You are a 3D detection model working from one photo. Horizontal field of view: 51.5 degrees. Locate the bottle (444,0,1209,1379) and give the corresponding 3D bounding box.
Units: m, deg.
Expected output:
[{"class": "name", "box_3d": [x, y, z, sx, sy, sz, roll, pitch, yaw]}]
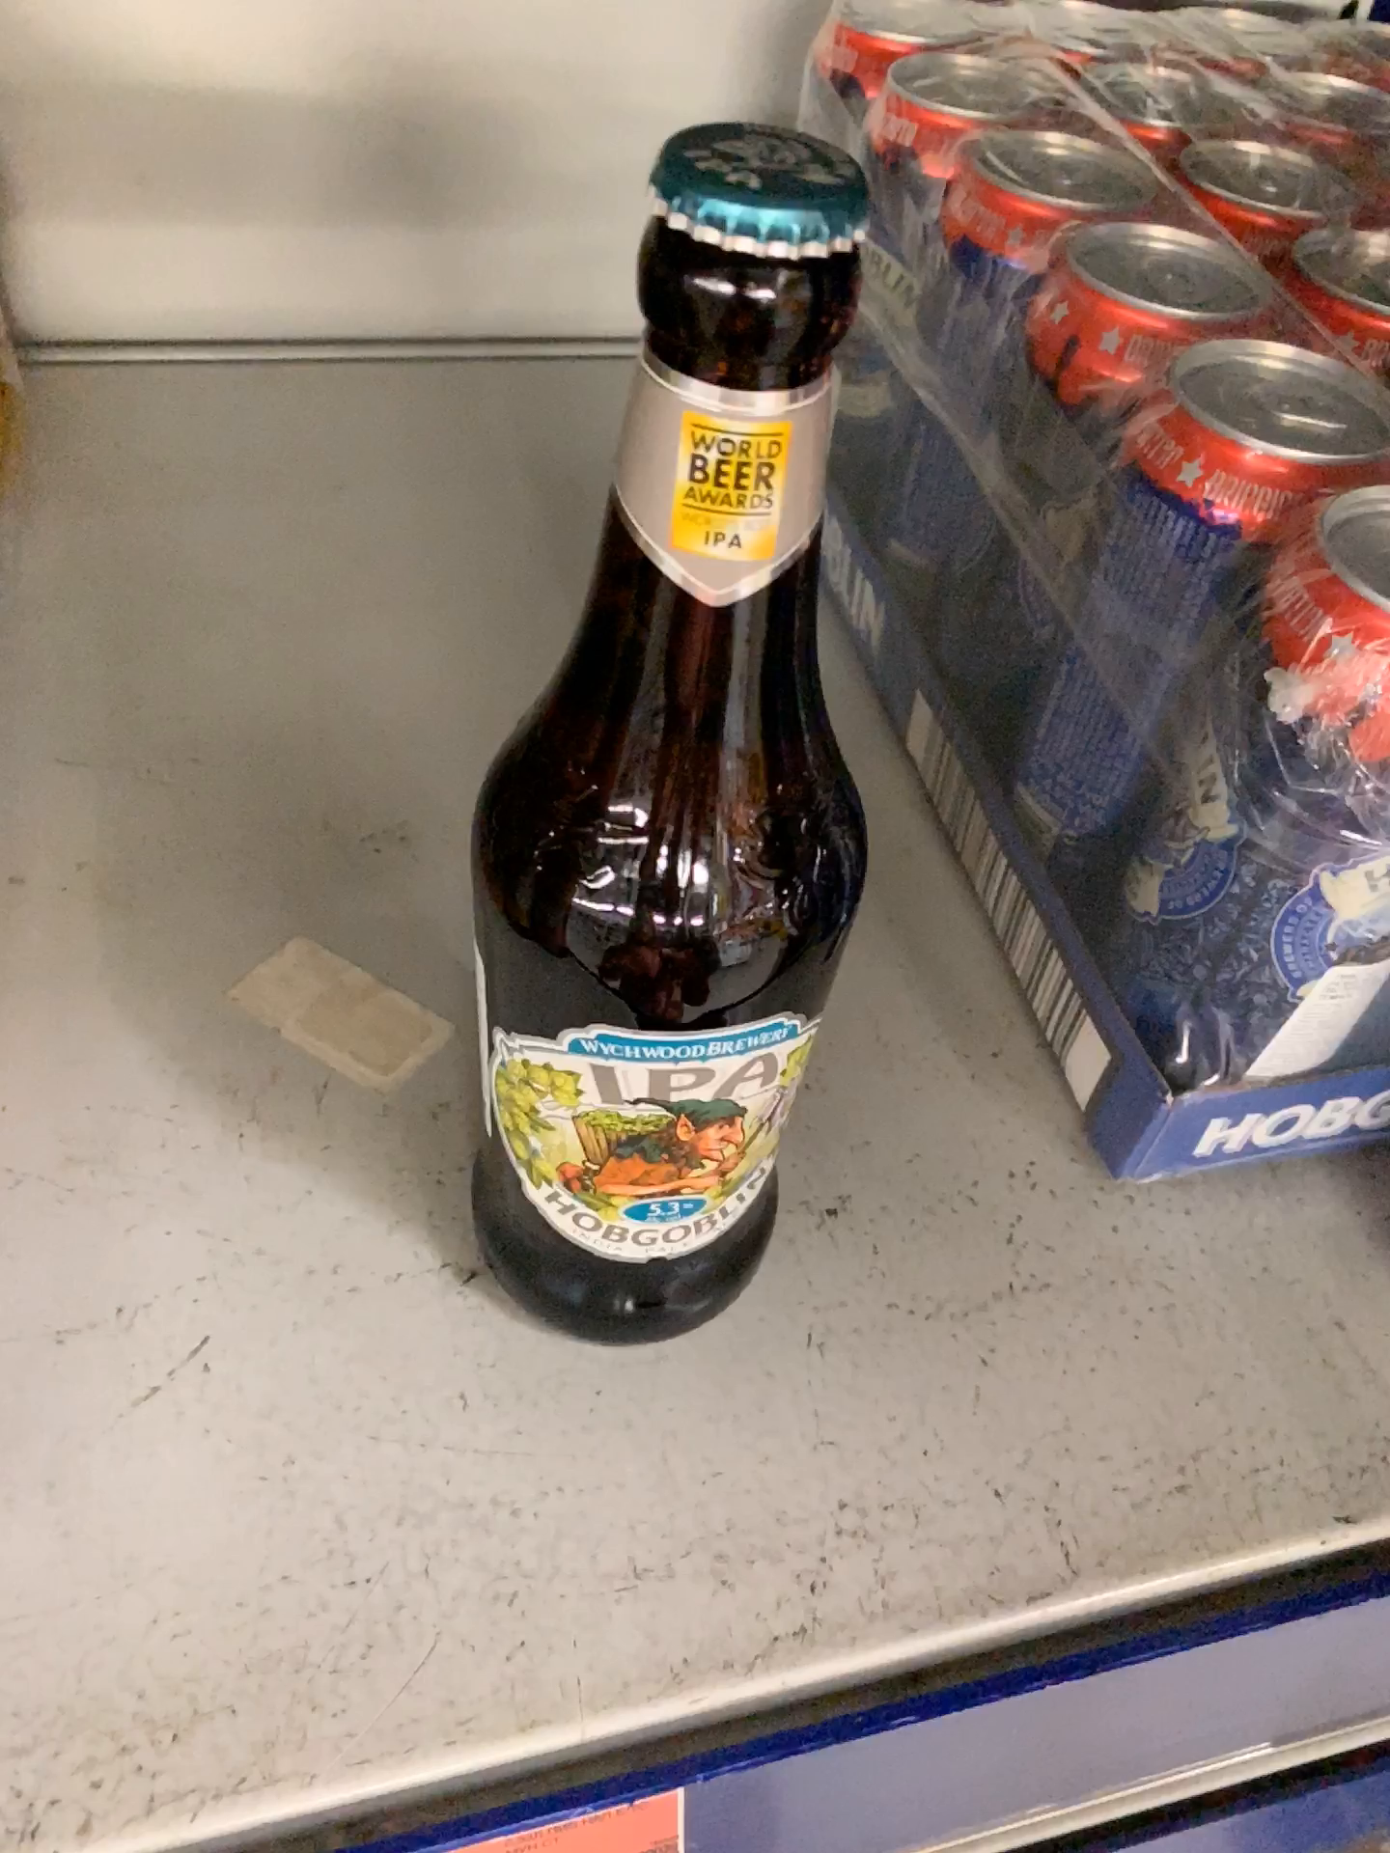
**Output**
[{"class": "bottle", "box_3d": [-0.003, -0.013, 0.265, 0.080, 0.249, 0.080, 4, 47, -4]}]
